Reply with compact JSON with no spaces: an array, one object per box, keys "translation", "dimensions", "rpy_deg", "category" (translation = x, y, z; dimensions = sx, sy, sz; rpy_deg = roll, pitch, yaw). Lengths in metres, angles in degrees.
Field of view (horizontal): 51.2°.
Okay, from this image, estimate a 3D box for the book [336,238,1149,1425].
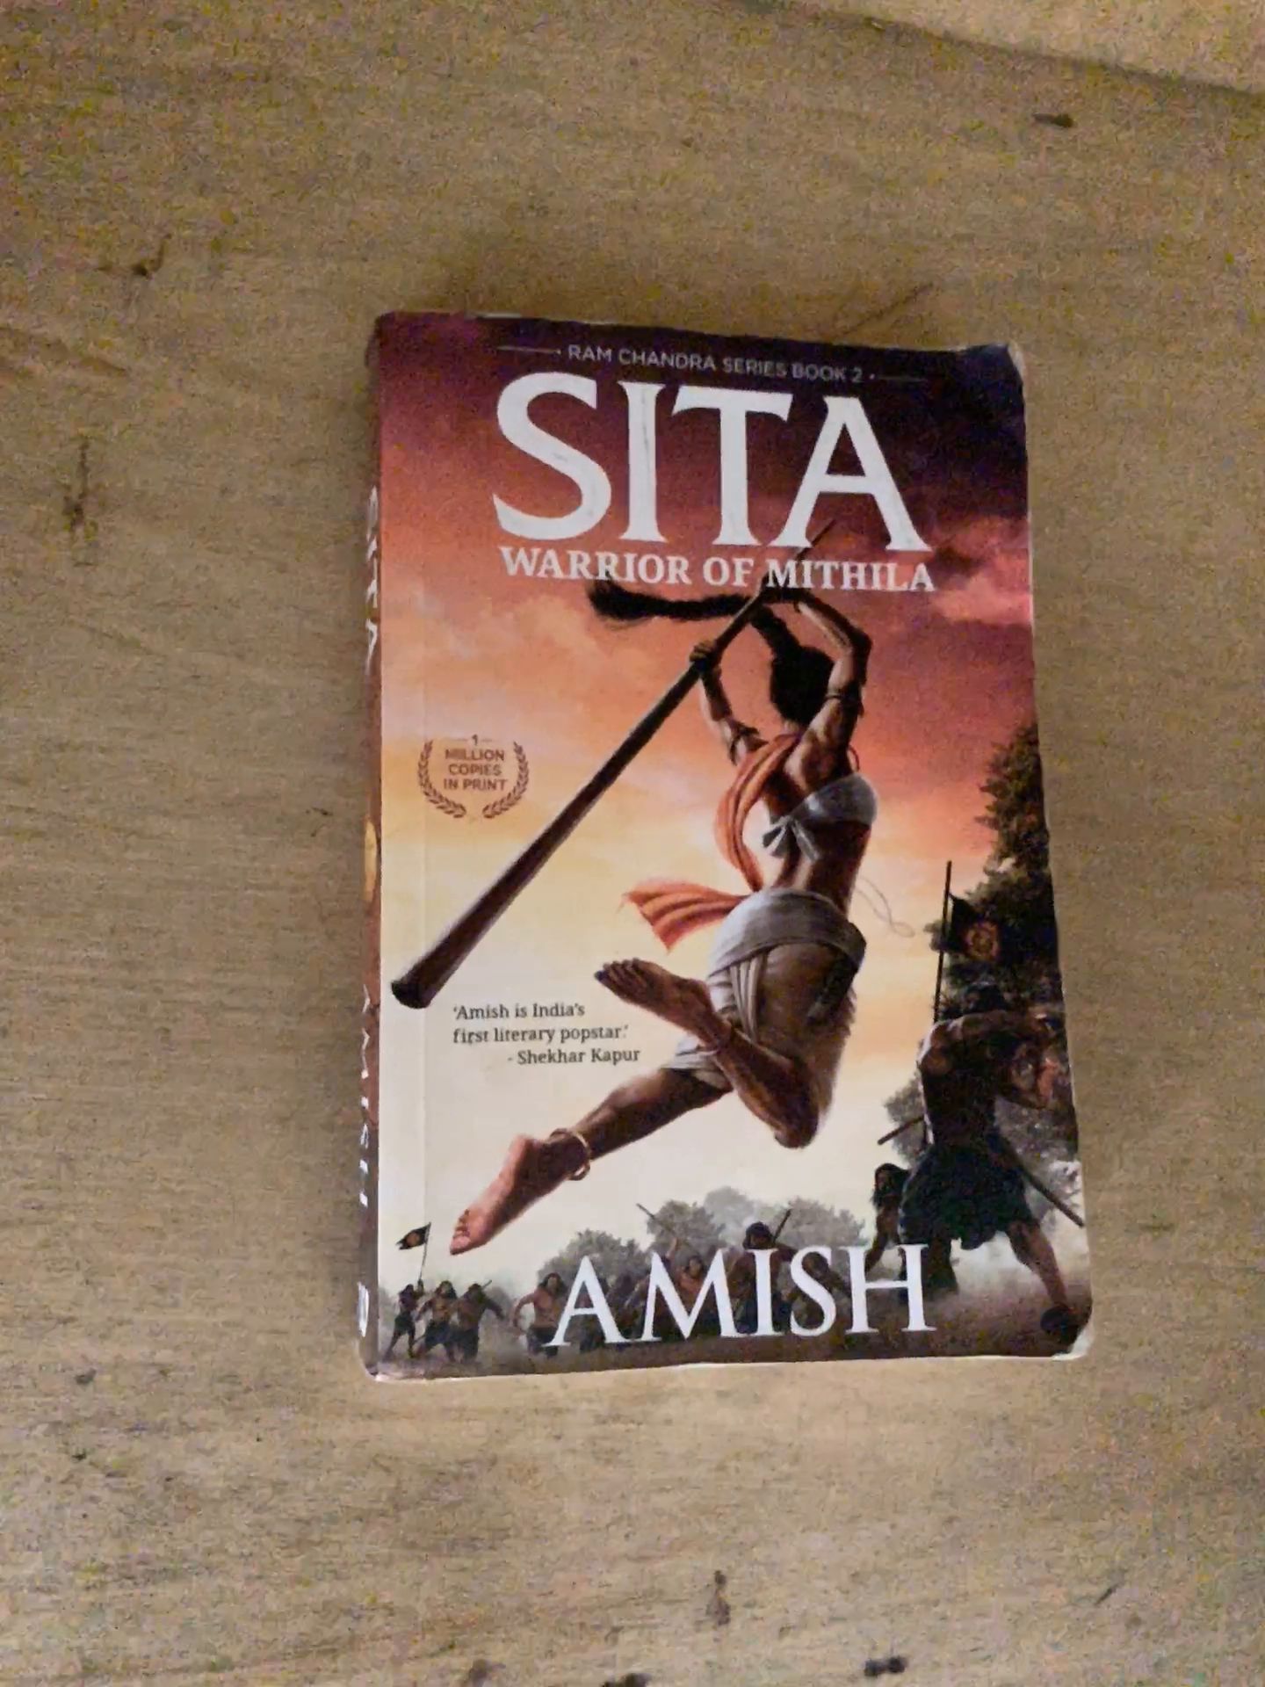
[{"translation":[0.019,-0.005,0.247],"dimensions":[0.140,0.030,0.200],"rpy_deg":[0,84,-9],"category":"book"}]
